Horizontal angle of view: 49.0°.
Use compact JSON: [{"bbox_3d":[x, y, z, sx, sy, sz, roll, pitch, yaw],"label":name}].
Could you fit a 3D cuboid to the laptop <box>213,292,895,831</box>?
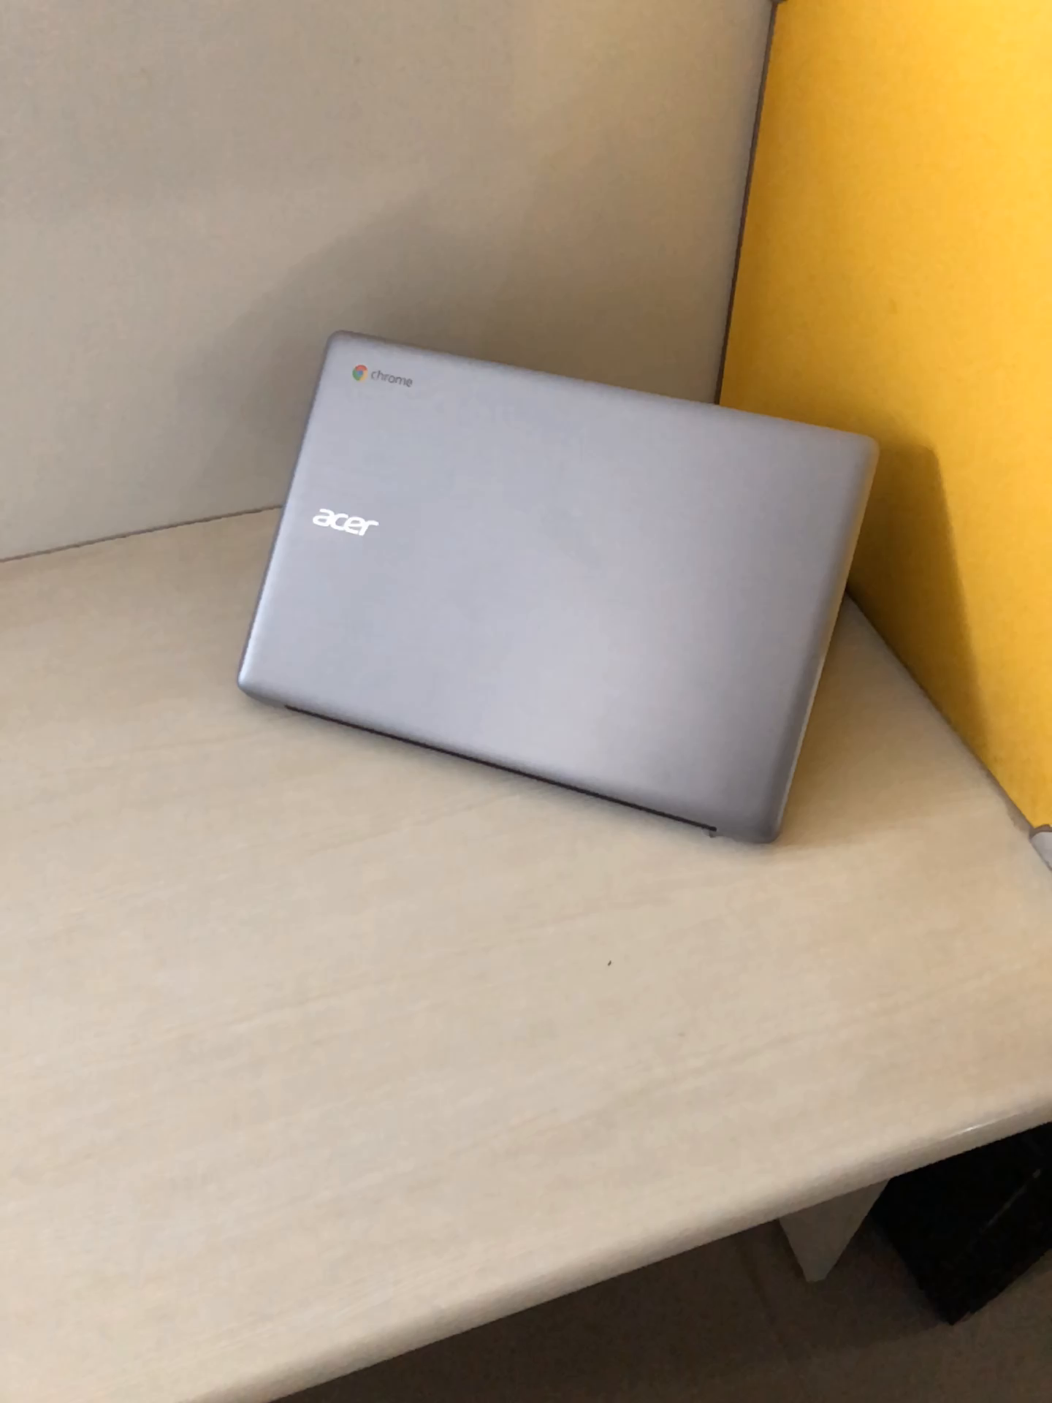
[{"bbox_3d":[0.024,-0.095,0.679,0.315,0.135,0.222,16,51,13],"label":"laptop"}]
